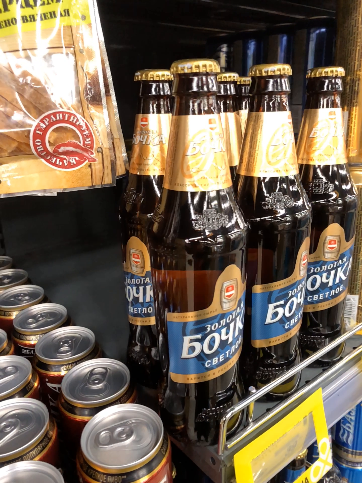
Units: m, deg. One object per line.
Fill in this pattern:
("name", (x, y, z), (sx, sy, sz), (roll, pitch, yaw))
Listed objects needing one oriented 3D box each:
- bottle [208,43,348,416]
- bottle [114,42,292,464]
("bottle", (0.065, -0.005, 0.284), (0.060, 0.234, 0.070), (12, 23, 36))
("bottle", (0.012, 0.010, 0.253), (0.070, 0.234, 0.070), (-2, 19, 1))
